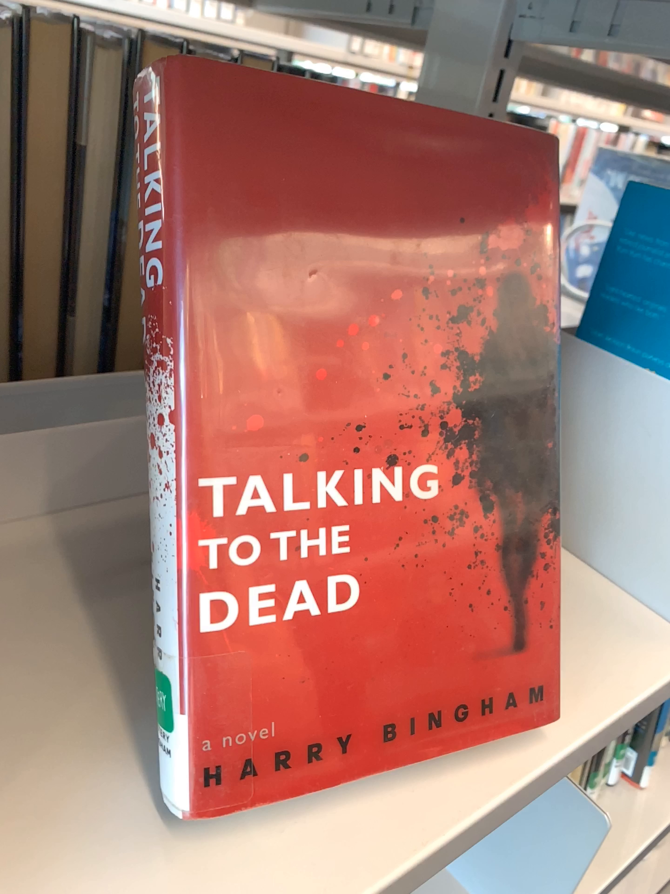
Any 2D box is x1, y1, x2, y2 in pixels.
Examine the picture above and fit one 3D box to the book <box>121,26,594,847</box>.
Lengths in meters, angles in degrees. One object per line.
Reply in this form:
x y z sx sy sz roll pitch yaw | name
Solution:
0.016 -0.005 0.250 0.164 0.231 0.040 -3 3 -26 | book
